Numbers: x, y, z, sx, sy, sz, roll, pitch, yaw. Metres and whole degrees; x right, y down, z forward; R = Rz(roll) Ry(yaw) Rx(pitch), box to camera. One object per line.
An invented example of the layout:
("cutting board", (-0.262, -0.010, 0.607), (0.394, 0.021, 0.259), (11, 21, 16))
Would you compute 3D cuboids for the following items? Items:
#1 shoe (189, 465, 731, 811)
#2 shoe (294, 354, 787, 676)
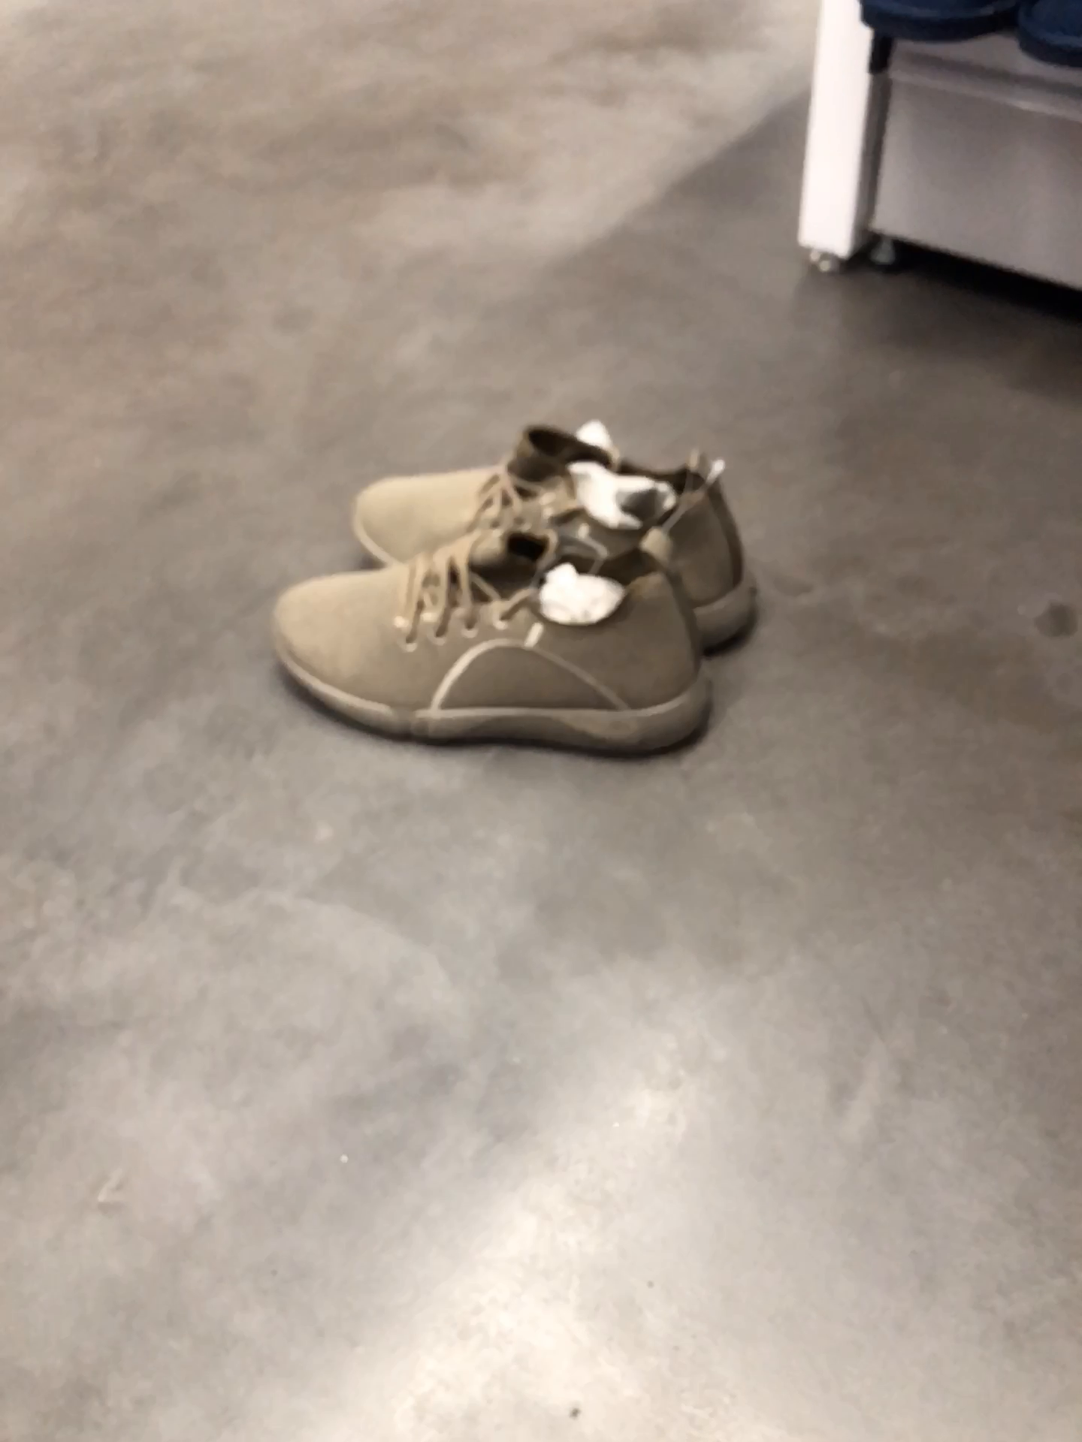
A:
("shoe", (-0.033, -0.044, 0.616), (0.240, 0.109, 0.101), (8, 50, 12))
("shoe", (0.003, -0.116, 0.668), (0.240, 0.109, 0.091), (11, 50, 15))
